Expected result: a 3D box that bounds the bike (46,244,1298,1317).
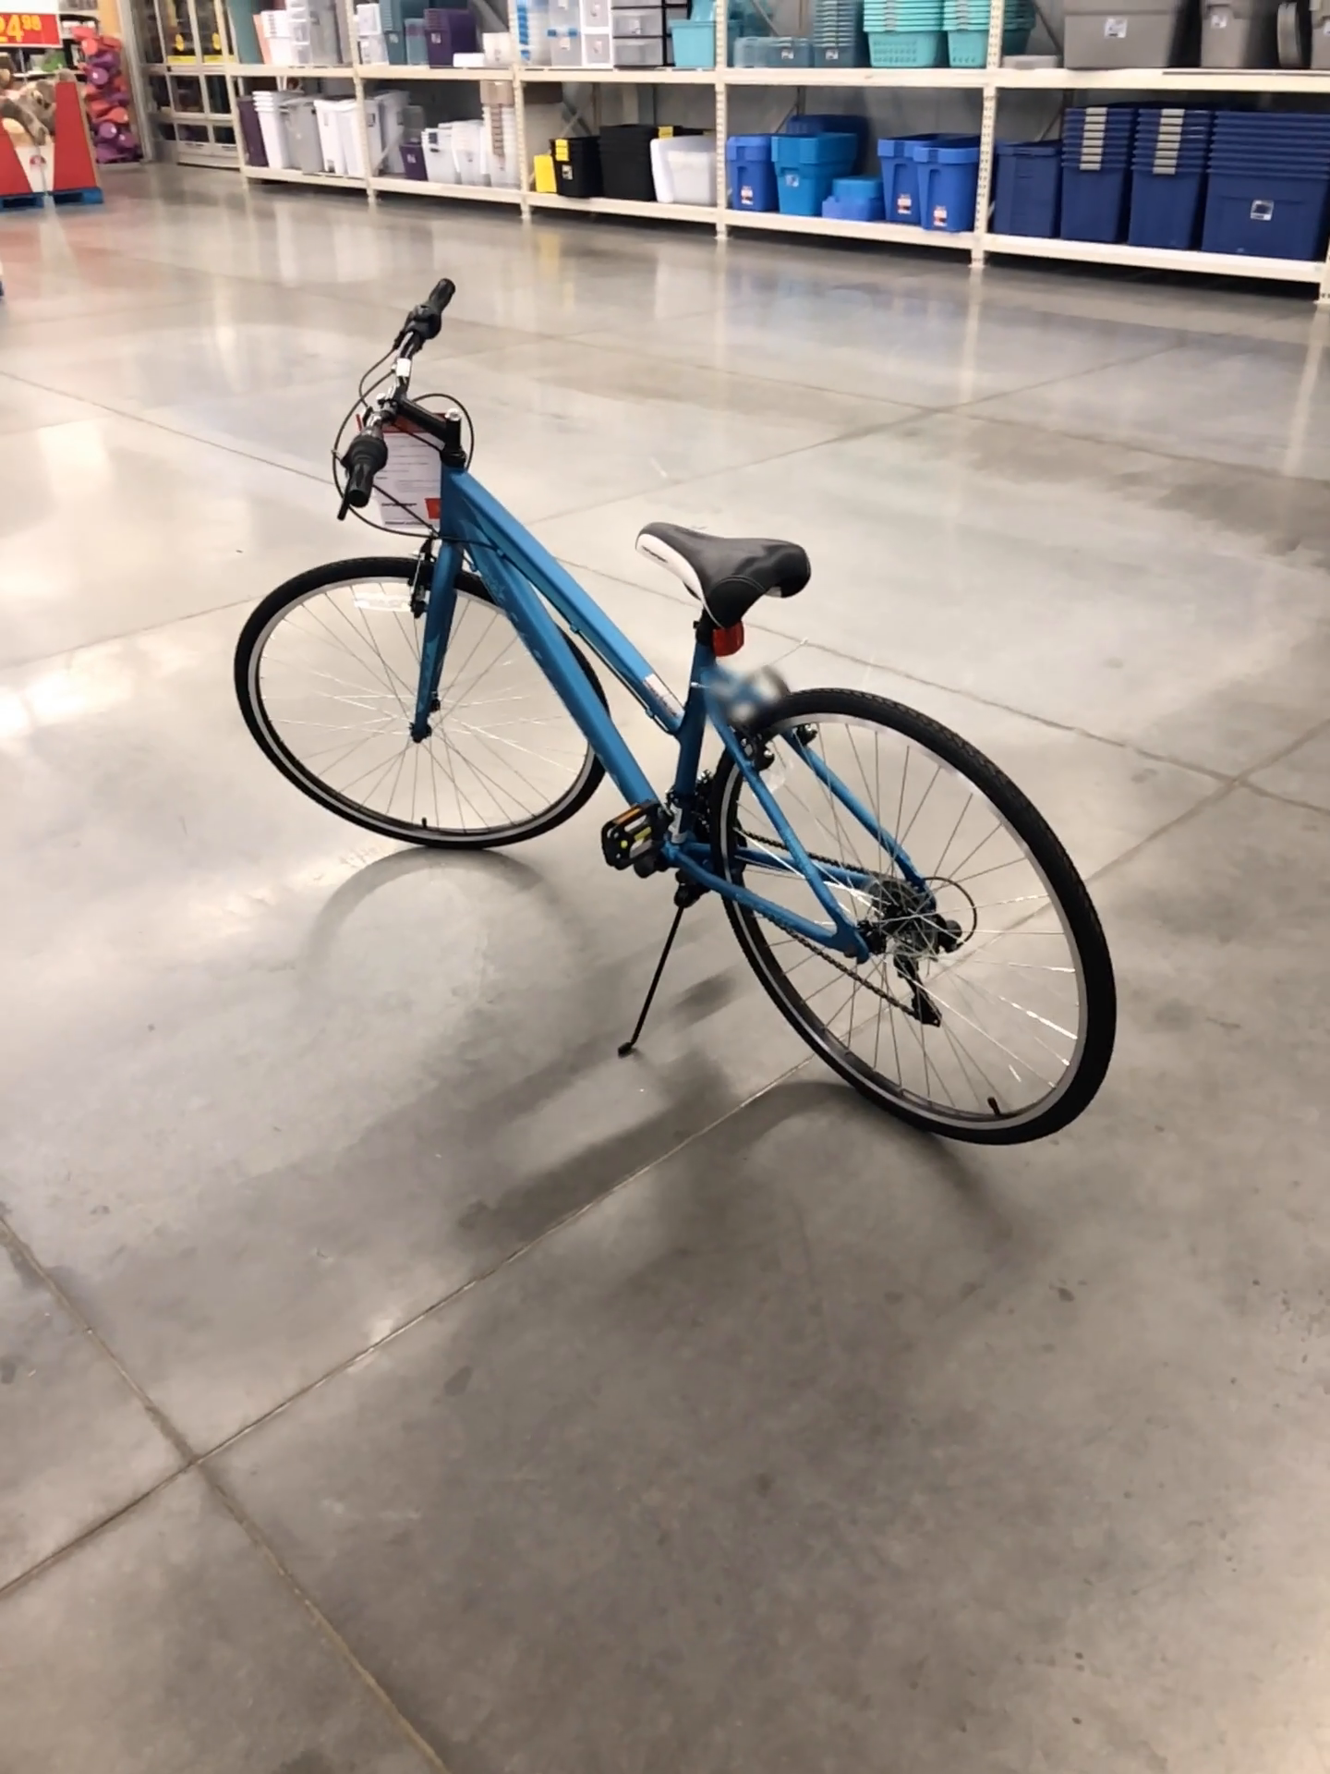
[{"bbox_3d":[-0.089,-0.301,2.097,1.610,0.978,0.579,22,37,33],"label":"bike"}]
